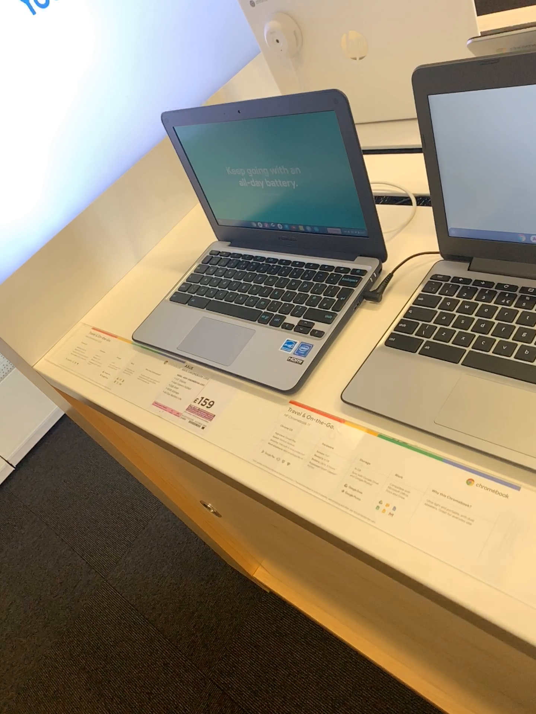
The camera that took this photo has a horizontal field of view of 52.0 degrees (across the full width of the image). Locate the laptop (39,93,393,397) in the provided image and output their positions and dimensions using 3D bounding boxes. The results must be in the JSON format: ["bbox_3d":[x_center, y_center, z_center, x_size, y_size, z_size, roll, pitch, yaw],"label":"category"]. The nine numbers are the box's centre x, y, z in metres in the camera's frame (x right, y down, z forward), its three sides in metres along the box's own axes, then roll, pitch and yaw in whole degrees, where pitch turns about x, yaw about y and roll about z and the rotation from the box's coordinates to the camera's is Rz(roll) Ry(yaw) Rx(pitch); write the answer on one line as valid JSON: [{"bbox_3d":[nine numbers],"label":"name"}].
[{"bbox_3d":[-0.056,-0.133,0.611,0.281,0.183,0.216,17,60,42],"label":"laptop"}]
